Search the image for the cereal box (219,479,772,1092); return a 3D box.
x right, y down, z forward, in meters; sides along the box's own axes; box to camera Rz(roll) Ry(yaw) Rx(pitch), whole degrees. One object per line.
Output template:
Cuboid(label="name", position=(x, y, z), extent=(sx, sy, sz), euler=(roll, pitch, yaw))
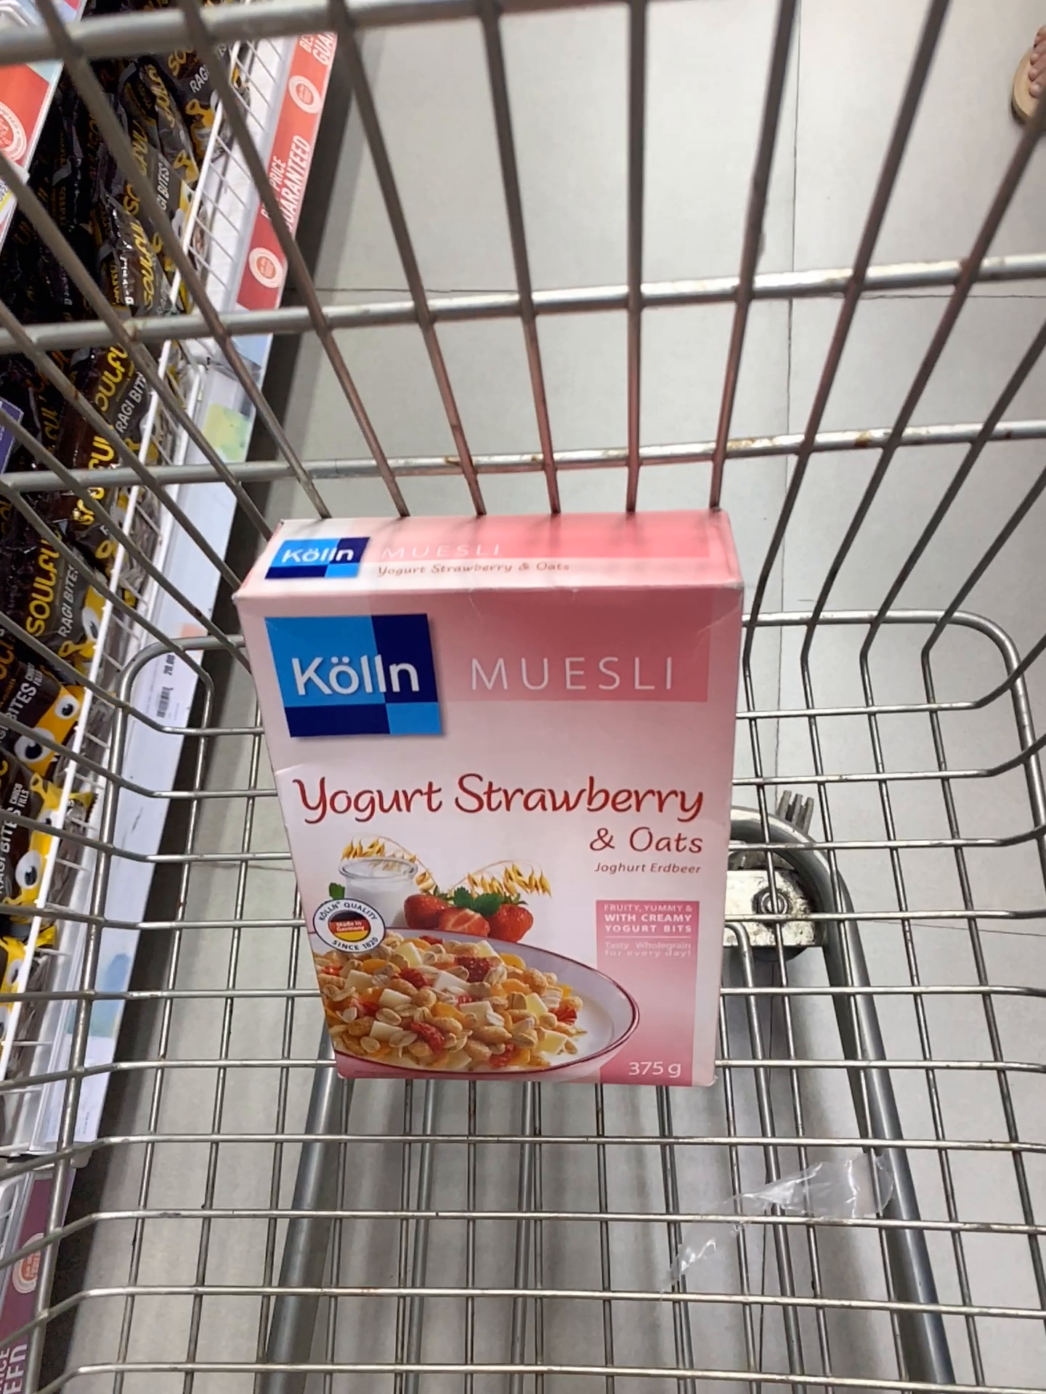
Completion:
Cuboid(label="cereal box", position=(-0.001, 0.041, 0.367), extent=(0.150, 0.220, 0.050), euler=(-1, 32, 5))
